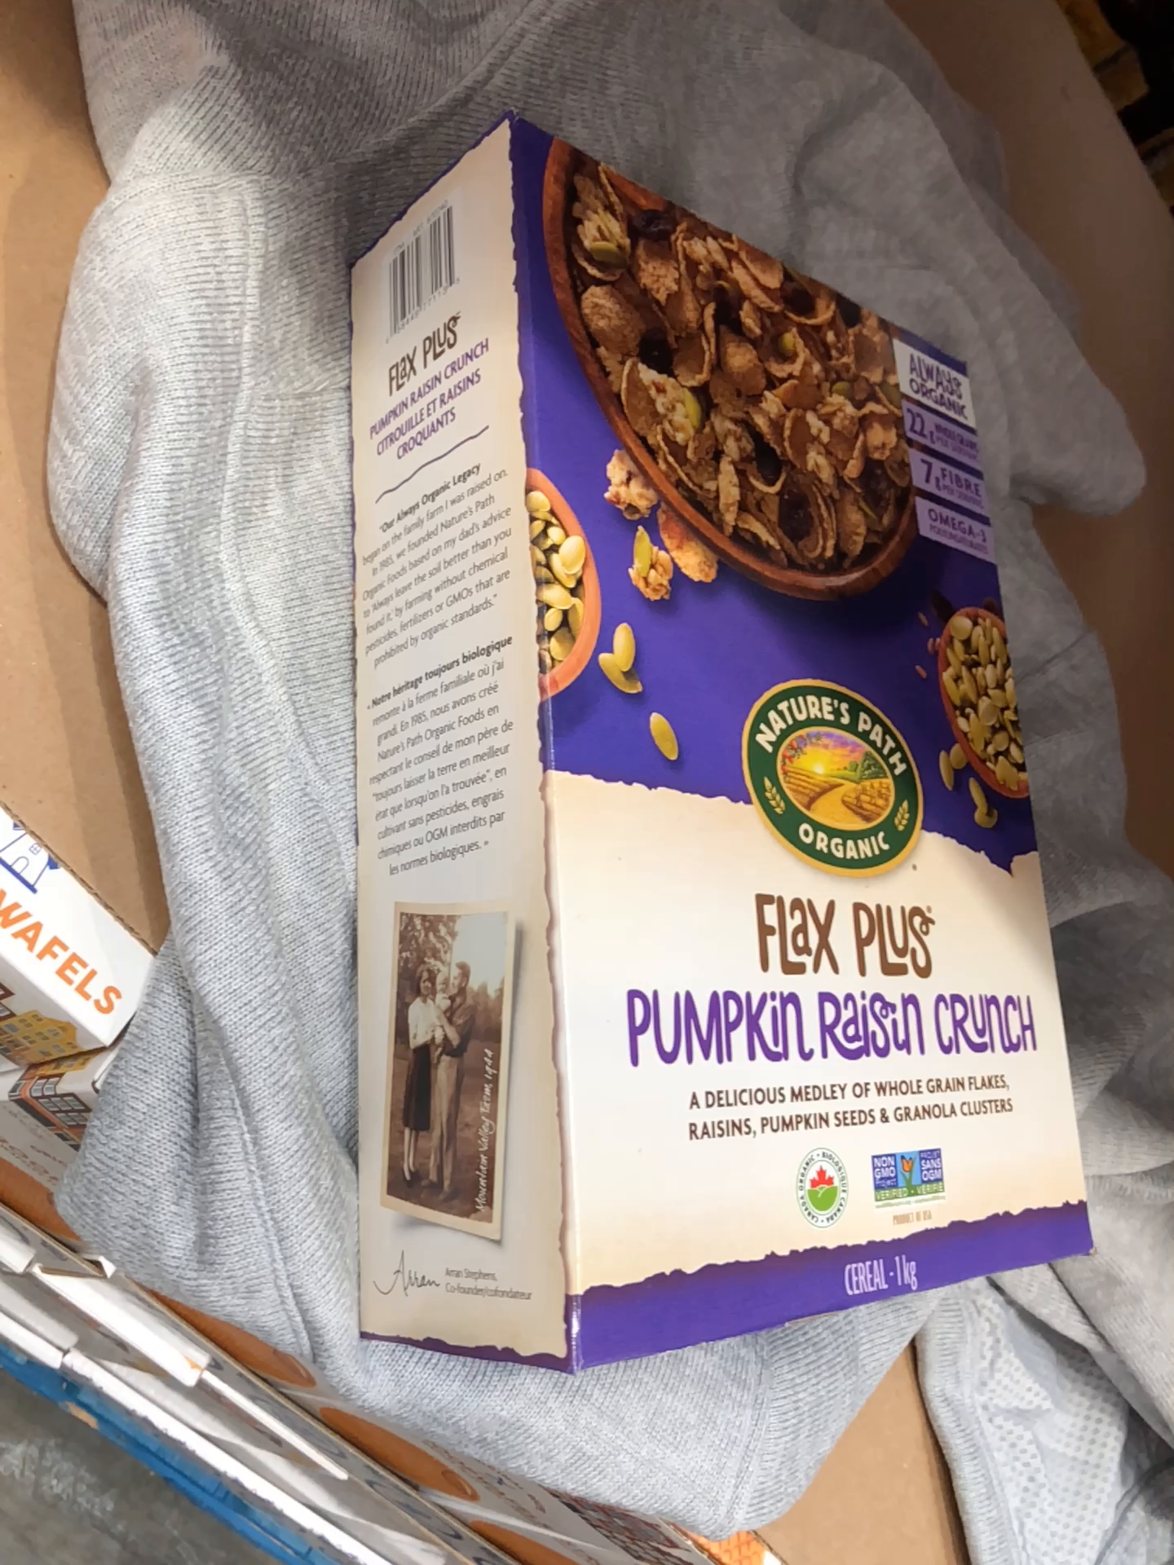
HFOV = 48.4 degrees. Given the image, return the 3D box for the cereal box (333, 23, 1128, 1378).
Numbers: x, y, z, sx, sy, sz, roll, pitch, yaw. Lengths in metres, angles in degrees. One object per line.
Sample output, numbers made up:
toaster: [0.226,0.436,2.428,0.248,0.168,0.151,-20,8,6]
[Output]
cereal box: [0.043,-0.015,0.386,0.211,0.090,0.310,9,72,-41]
